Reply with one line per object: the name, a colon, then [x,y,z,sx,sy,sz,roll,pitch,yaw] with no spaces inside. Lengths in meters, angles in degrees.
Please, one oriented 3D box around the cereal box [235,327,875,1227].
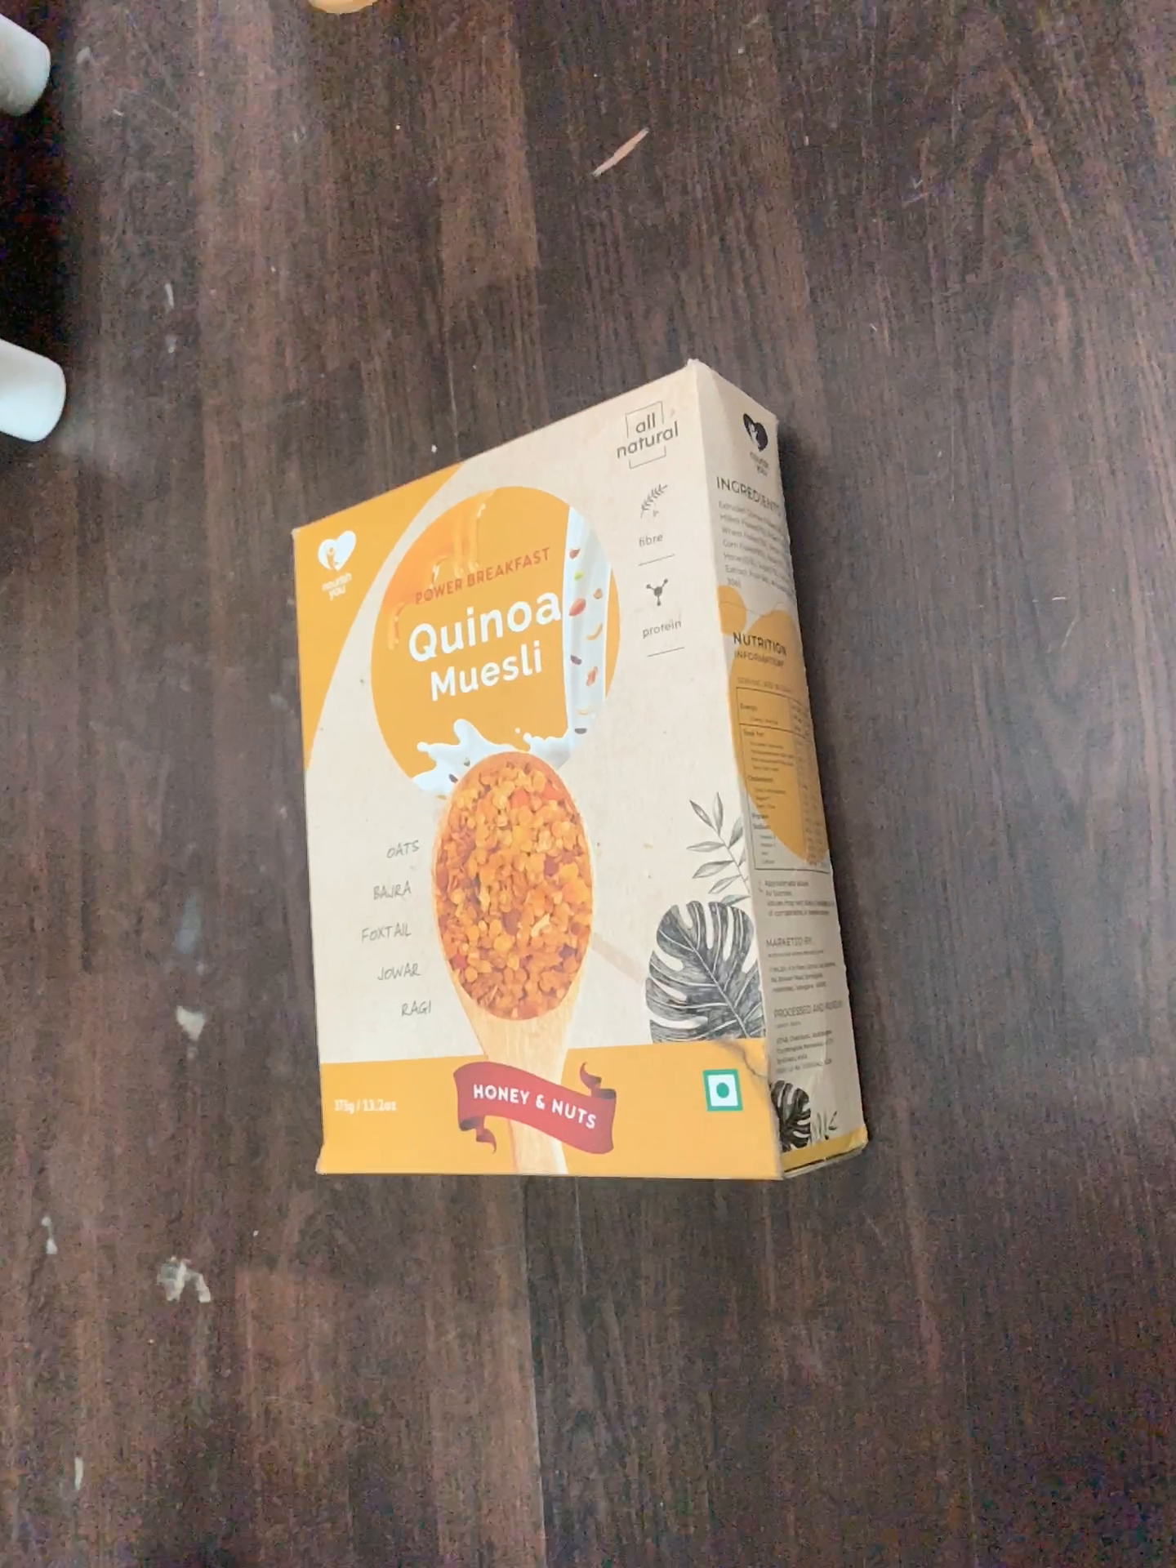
cereal box: [-0.020,0.008,0.365,0.171,0.060,0.220,-11,81,35]
